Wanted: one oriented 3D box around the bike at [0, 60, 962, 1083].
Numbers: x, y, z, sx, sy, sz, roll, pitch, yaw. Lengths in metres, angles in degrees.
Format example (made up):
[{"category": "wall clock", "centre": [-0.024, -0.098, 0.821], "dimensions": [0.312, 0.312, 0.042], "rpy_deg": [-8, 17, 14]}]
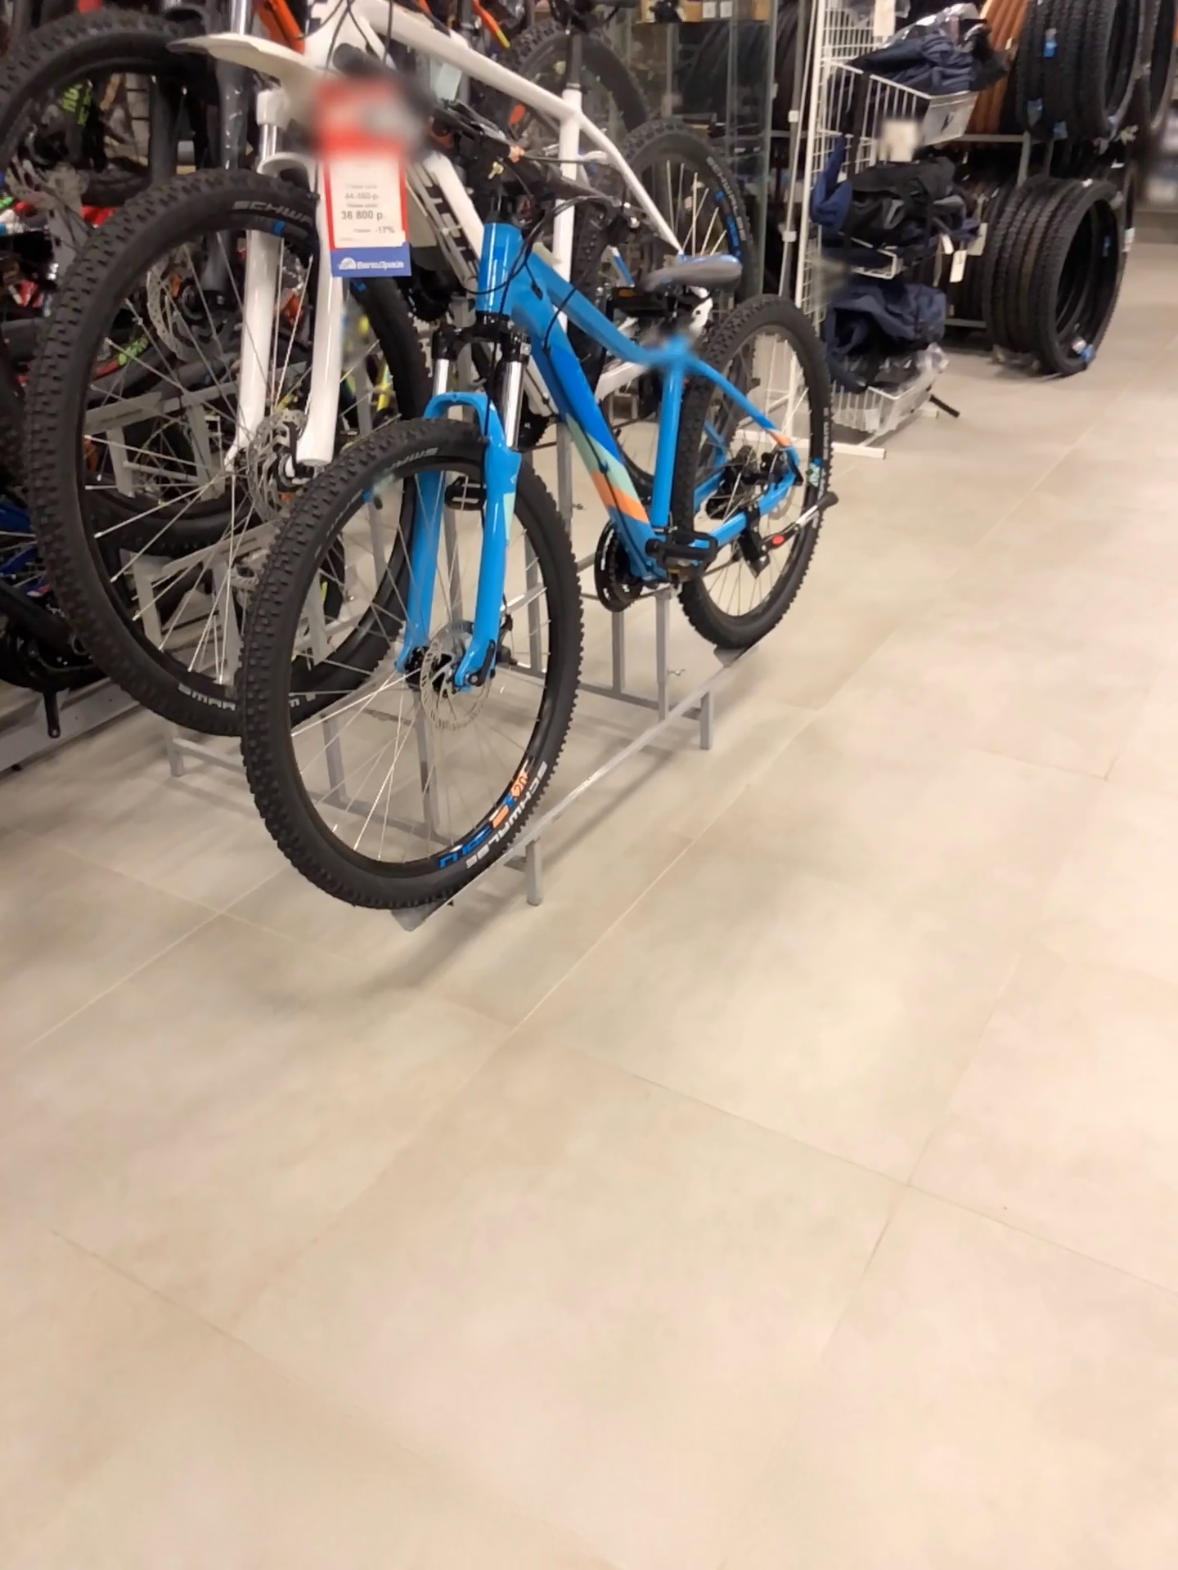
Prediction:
[{"category": "bike", "centre": [-0.044, -0.540, 2.111], "dimensions": [0.631, 1.082, 1.710], "rpy_deg": [16, 34, 26]}]
